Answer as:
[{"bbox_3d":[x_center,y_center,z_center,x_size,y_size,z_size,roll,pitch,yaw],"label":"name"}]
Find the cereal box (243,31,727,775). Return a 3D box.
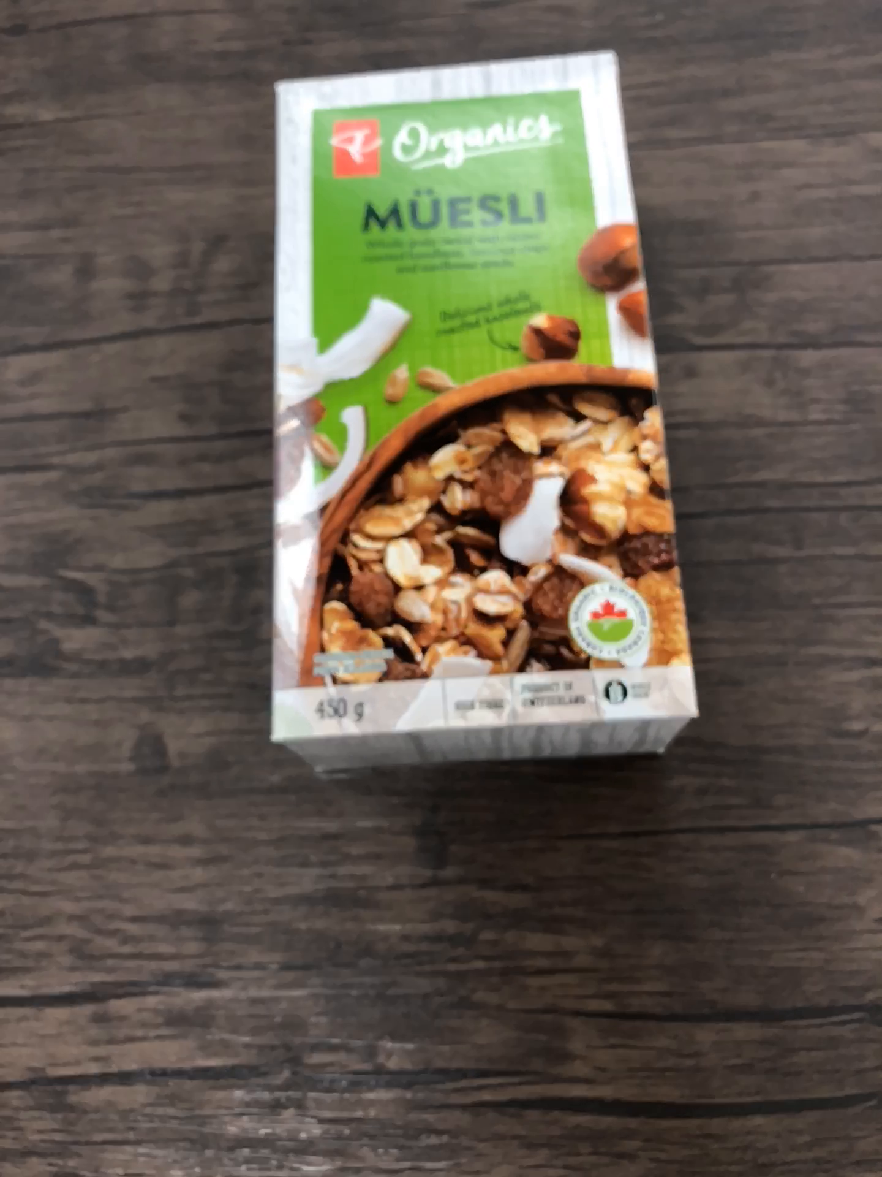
[{"bbox_3d":[0.008,-0.061,0.336,0.130,0.070,0.230,-4,73,3],"label":"cereal box"}]
